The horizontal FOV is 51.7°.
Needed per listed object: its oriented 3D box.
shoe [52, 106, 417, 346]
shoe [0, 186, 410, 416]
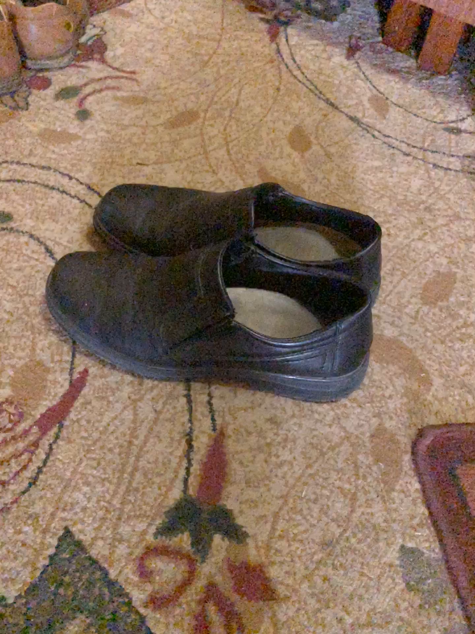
[{"bbox_3d":[-0.003,-0.086,0.451,0.290,0.099,0.101,19,55,9],"label":"shoe"},{"bbox_3d":[-0.025,-0.012,0.398,0.290,0.099,0.101,10,54,2],"label":"shoe"}]
